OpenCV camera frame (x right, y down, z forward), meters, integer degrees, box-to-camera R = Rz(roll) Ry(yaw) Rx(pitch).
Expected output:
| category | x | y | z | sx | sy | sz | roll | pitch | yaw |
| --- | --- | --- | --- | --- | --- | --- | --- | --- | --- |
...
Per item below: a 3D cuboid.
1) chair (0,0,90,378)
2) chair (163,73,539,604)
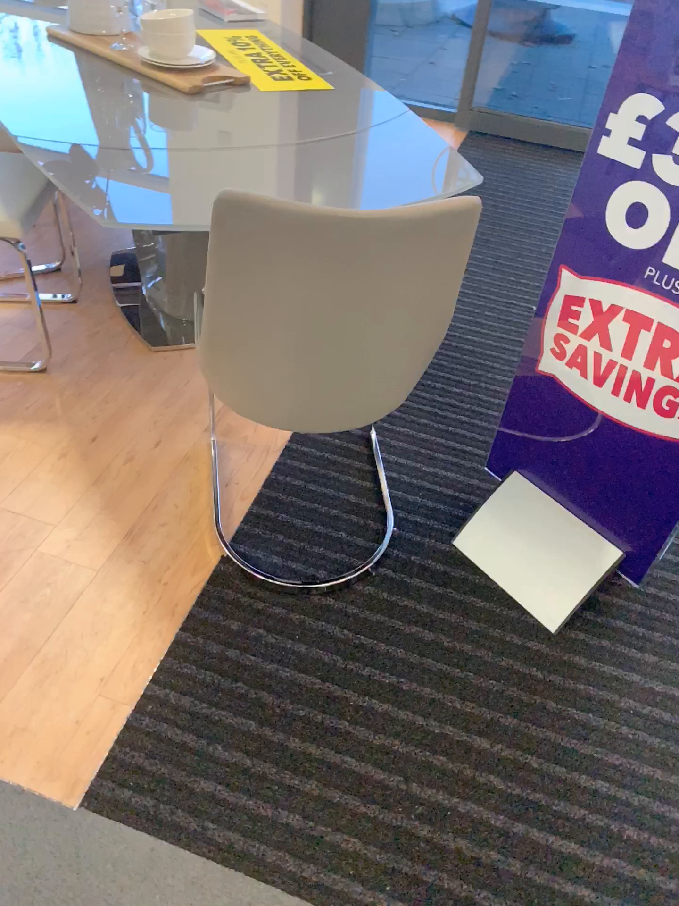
| category | x | y | z | sx | sy | sz | roll | pitch | yaw |
| --- | --- | --- | --- | --- | --- | --- | --- | --- | --- |
| chair | -1.109 | -0.777 | 1.868 | 0.589 | 1.025 | 0.511 | 1 | 42 | -7 |
| chair | -0.062 | -0.218 | 1.413 | 0.507 | 0.846 | 0.595 | -4 | 43 | -12 |
